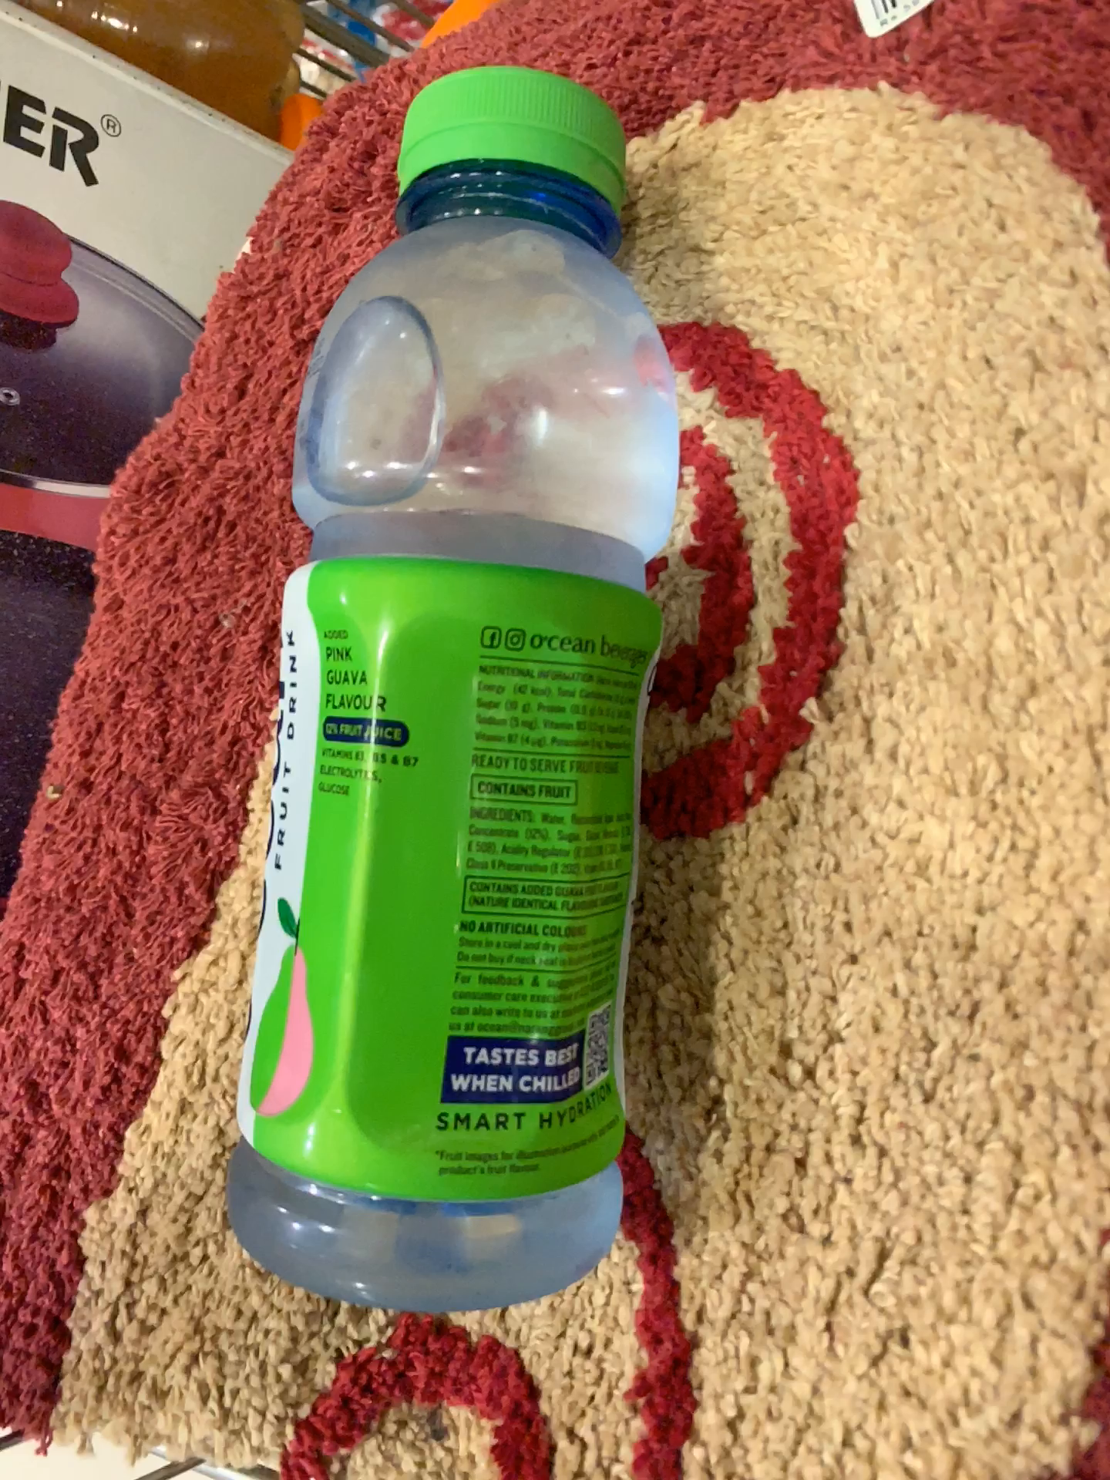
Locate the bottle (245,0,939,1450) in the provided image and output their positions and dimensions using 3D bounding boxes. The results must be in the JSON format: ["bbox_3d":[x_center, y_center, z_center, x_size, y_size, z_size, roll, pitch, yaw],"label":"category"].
[{"bbox_3d":[0.002,-0.015,0.196,0.080,0.070,0.210,3,89,58],"label":"bottle"}]
